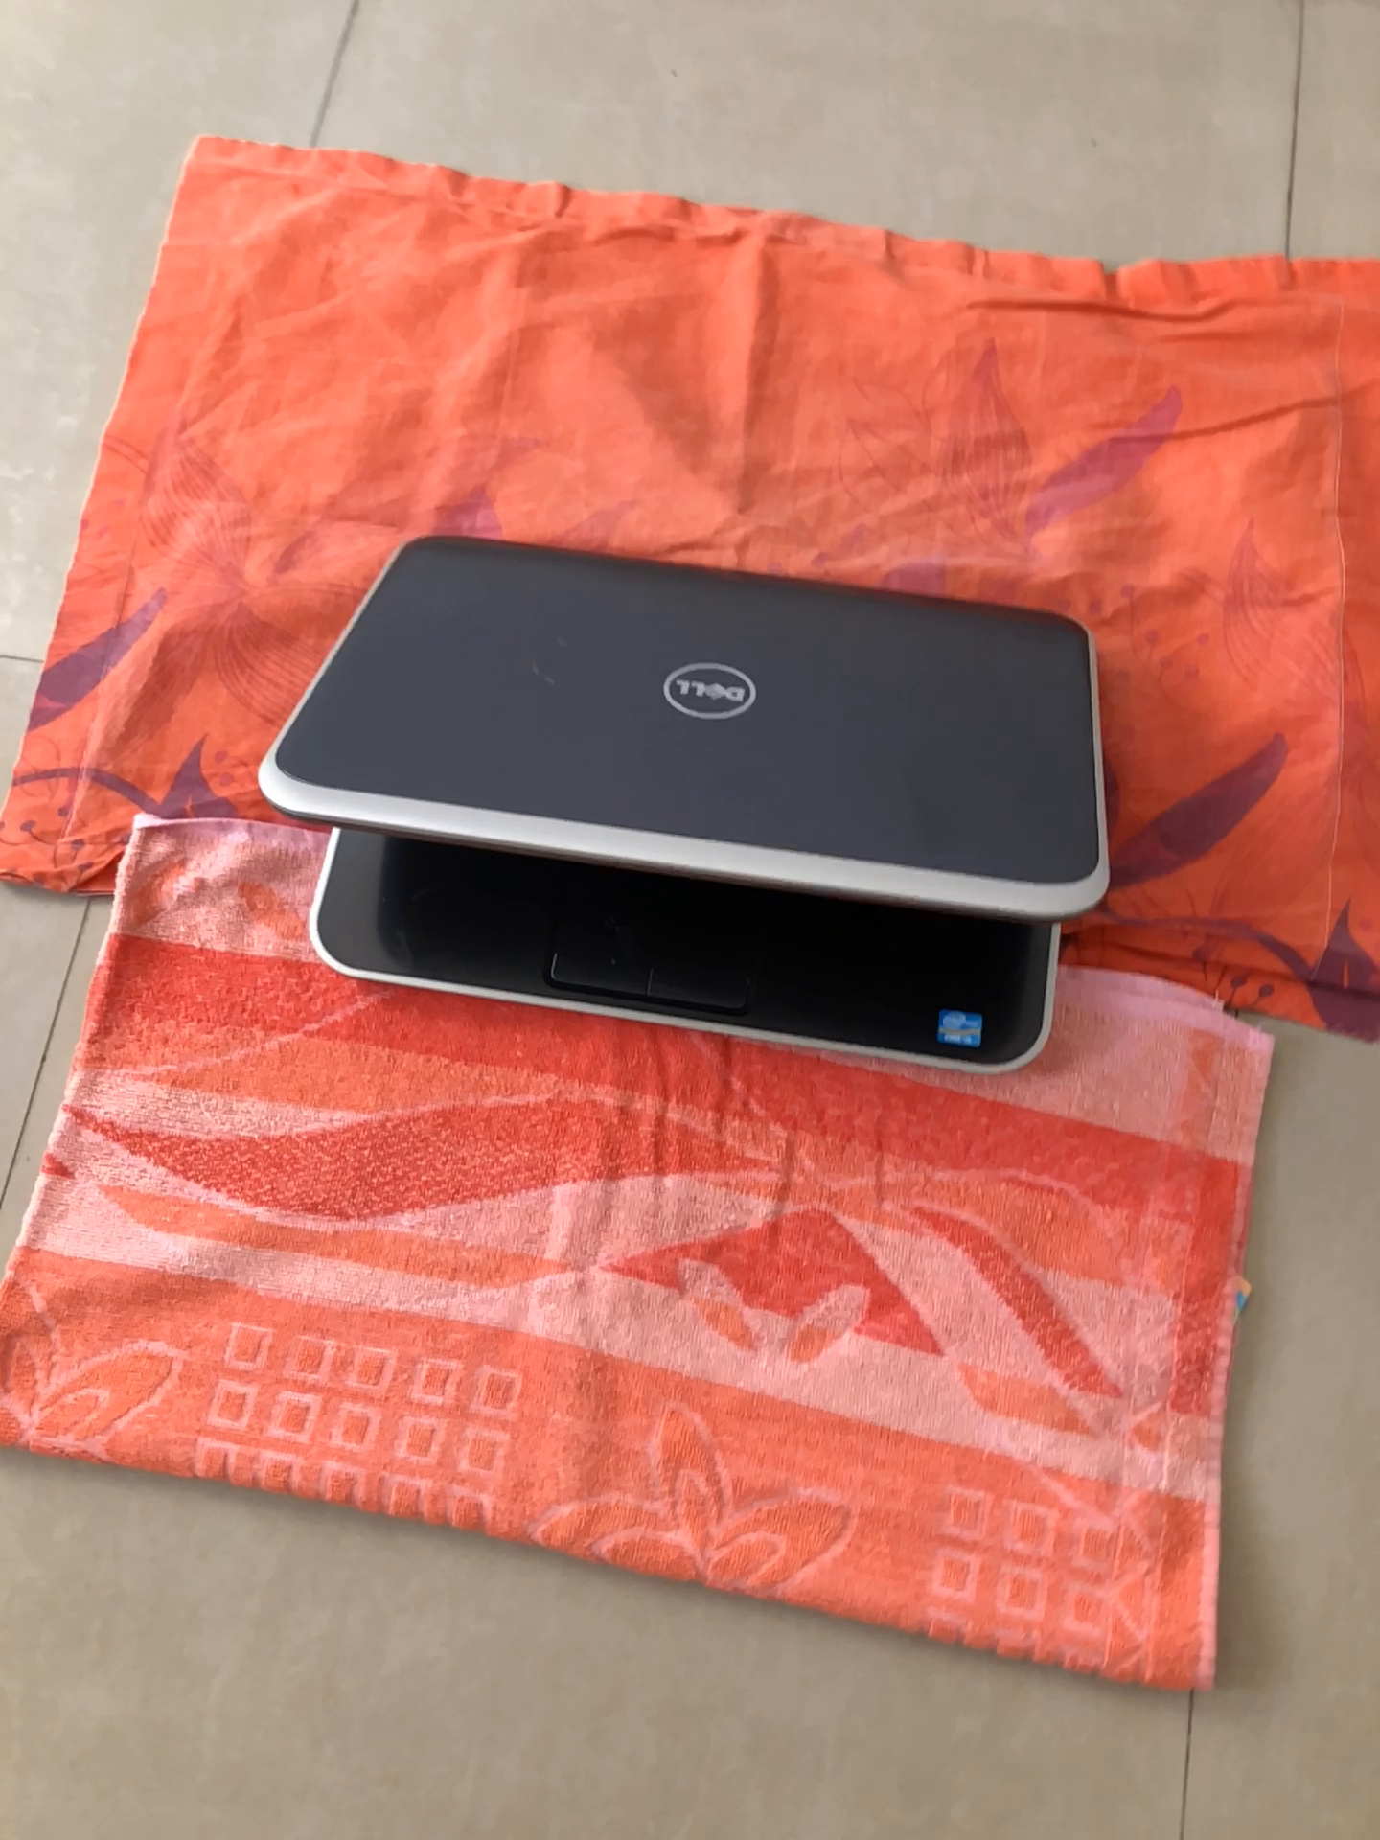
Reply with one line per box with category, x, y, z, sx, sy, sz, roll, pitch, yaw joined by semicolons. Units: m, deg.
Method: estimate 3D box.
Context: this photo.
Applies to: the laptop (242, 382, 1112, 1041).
laptop;0.006;-0.097;0.721;0.345;0.129;0.242;8;71;4
